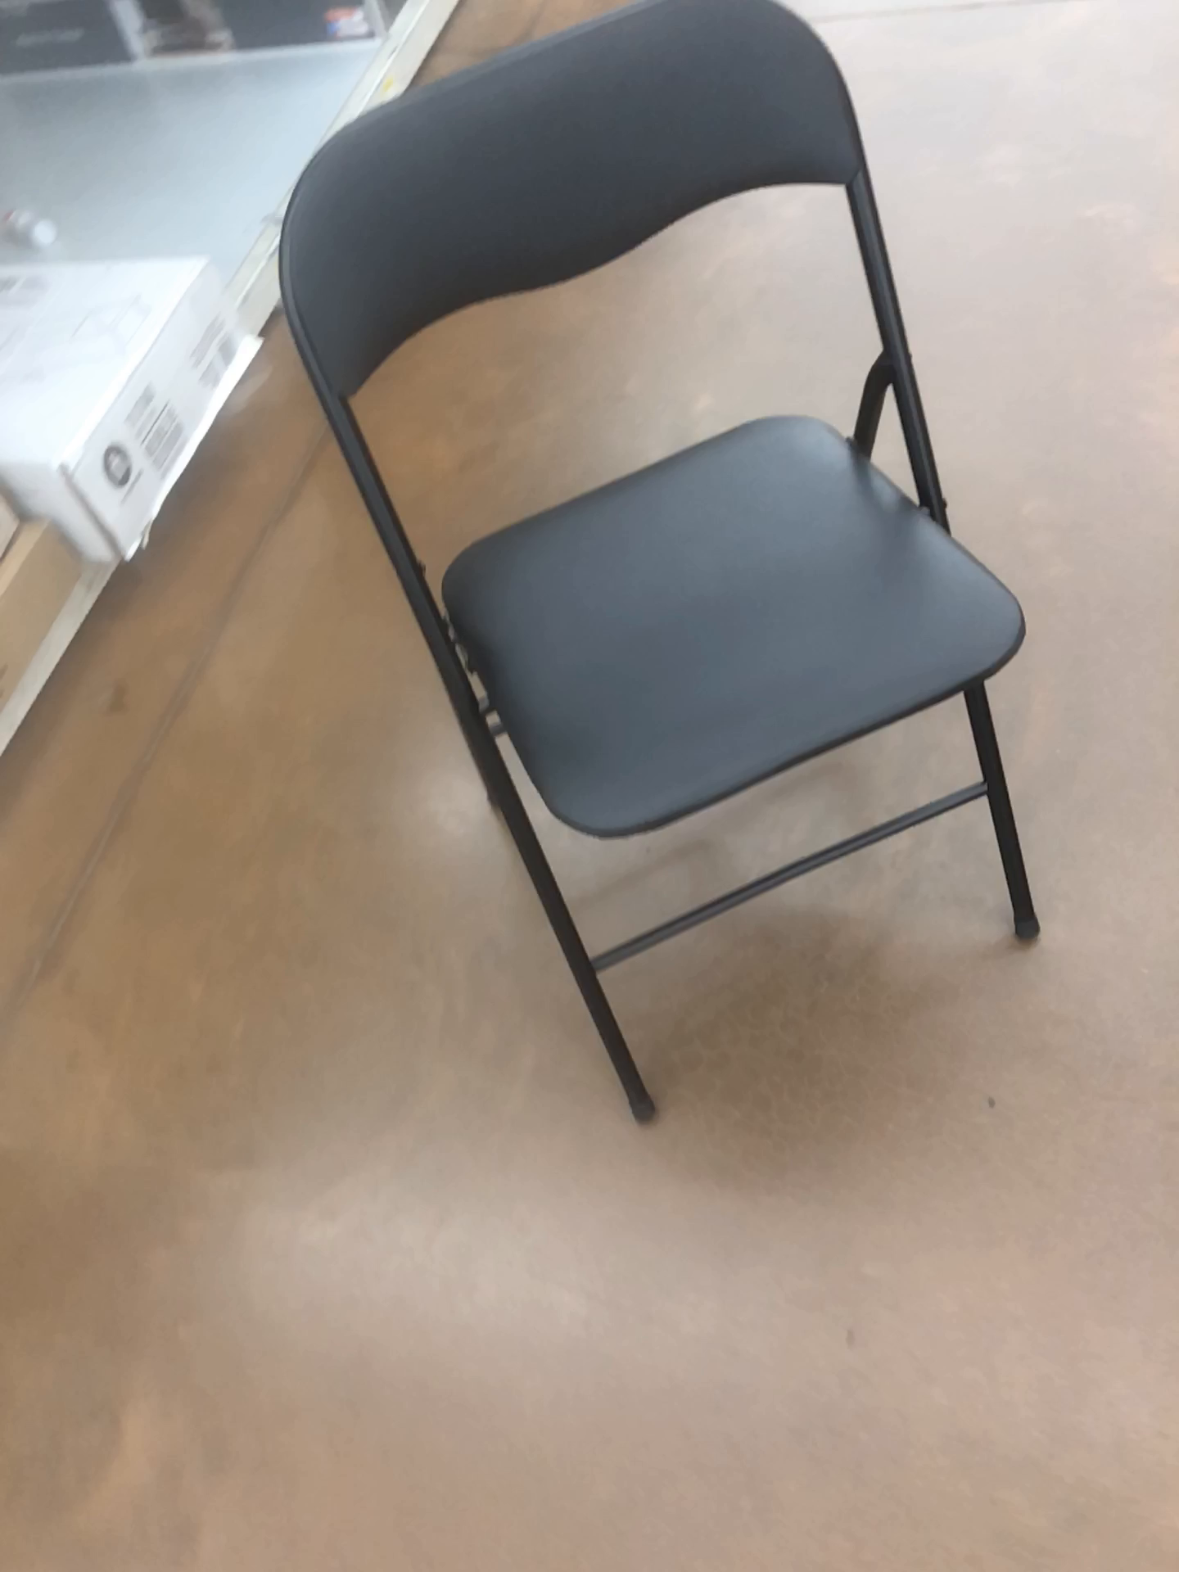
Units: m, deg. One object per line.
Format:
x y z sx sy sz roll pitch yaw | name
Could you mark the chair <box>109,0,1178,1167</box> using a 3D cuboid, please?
0.072 -0.161 1.049 0.520 0.757 0.492 -24 50 -4 | chair
